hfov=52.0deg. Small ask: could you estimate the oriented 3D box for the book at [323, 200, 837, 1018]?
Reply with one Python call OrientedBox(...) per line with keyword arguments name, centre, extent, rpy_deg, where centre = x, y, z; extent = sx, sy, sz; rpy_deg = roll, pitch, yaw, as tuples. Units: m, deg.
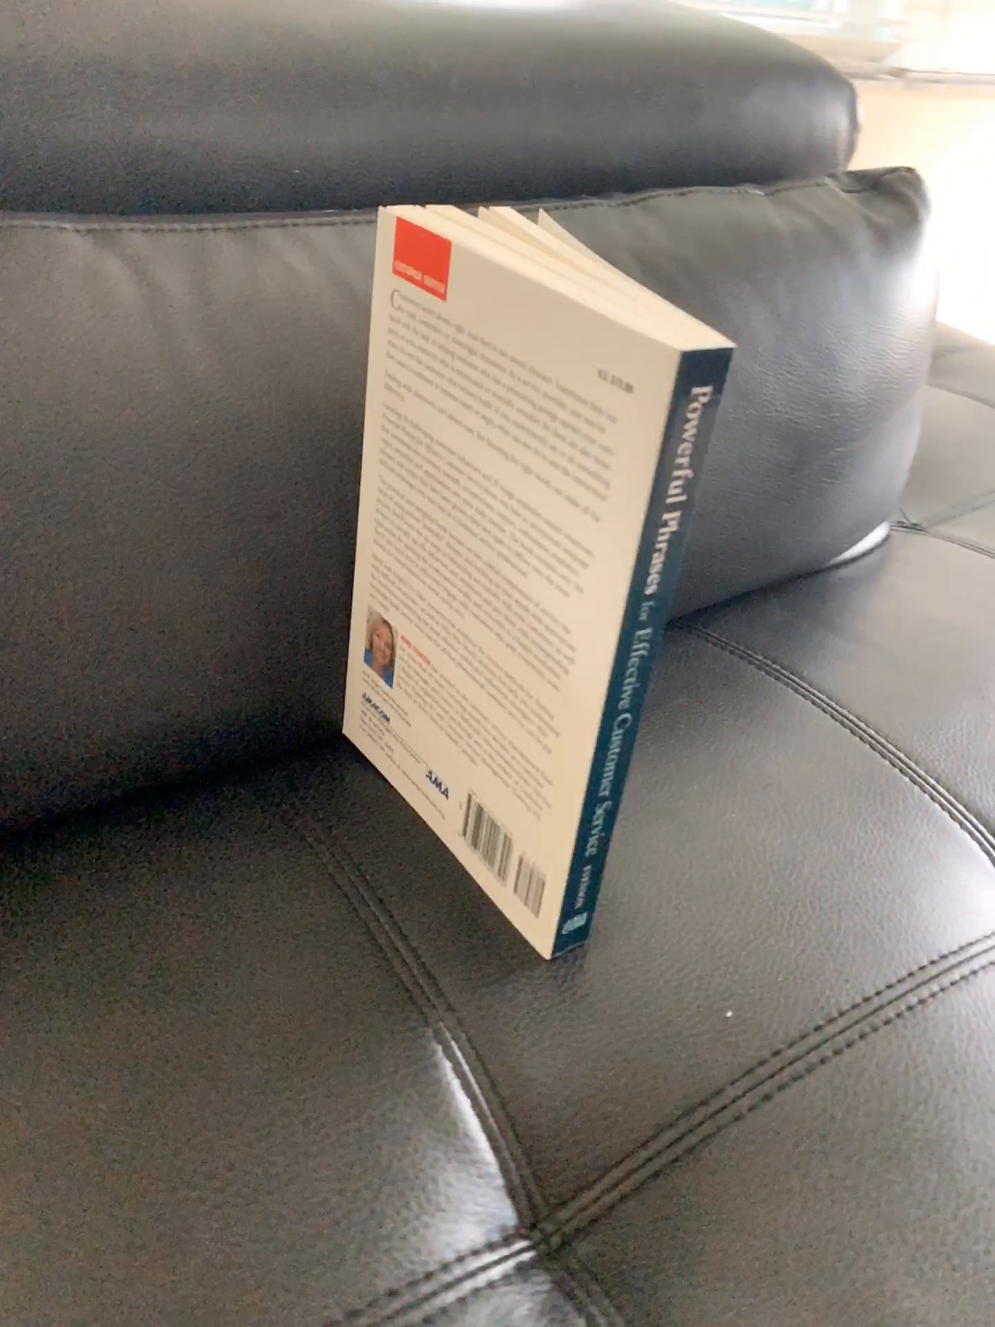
OrientedBox(name="book", centre=(0.003, -0.022, 0.383), extent=(0.082, 0.246, 0.163), rpy_deg=(-12, 40, -26))
